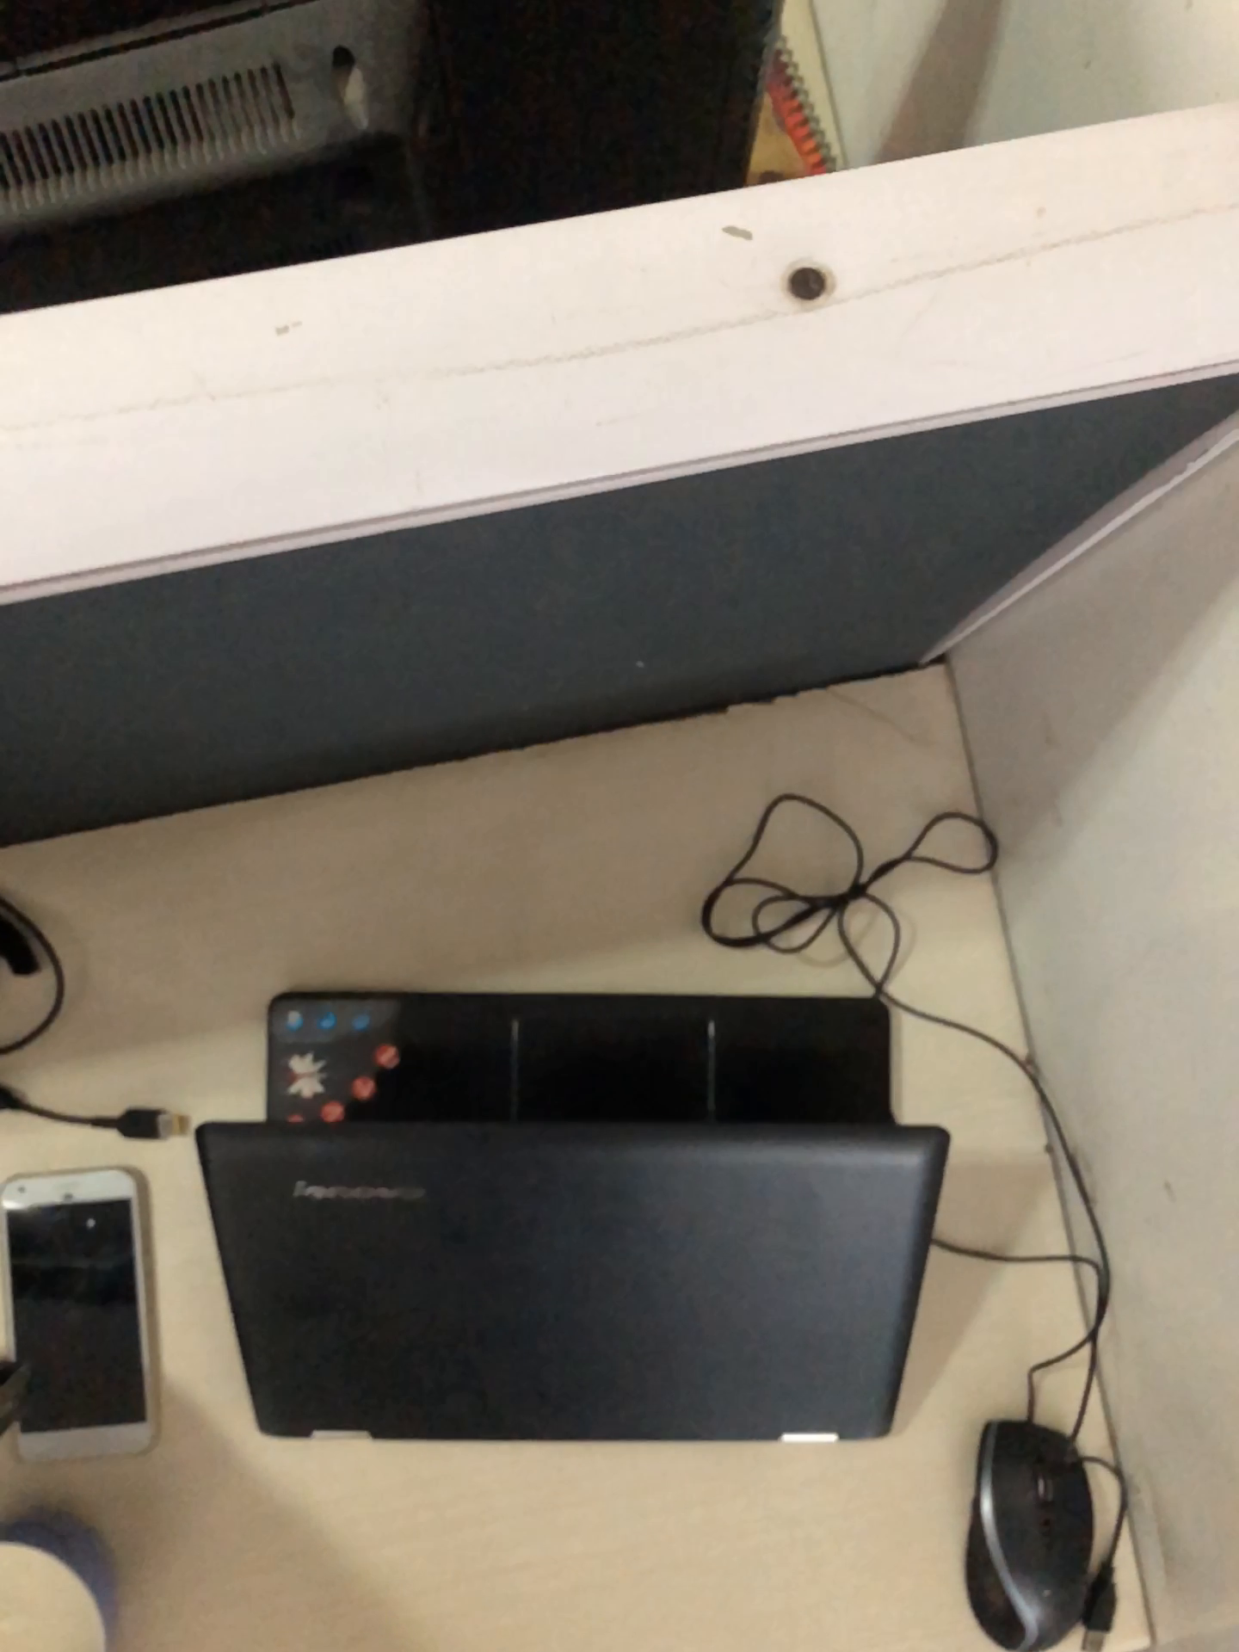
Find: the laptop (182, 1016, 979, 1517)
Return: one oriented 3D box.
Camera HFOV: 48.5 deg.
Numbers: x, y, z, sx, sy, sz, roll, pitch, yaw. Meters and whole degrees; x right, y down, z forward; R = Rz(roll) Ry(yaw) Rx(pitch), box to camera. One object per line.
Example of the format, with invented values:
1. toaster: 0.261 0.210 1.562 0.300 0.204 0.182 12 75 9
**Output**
1. laptop: -0.018 0.196 0.643 0.324 0.143 0.204 1 94 -1
